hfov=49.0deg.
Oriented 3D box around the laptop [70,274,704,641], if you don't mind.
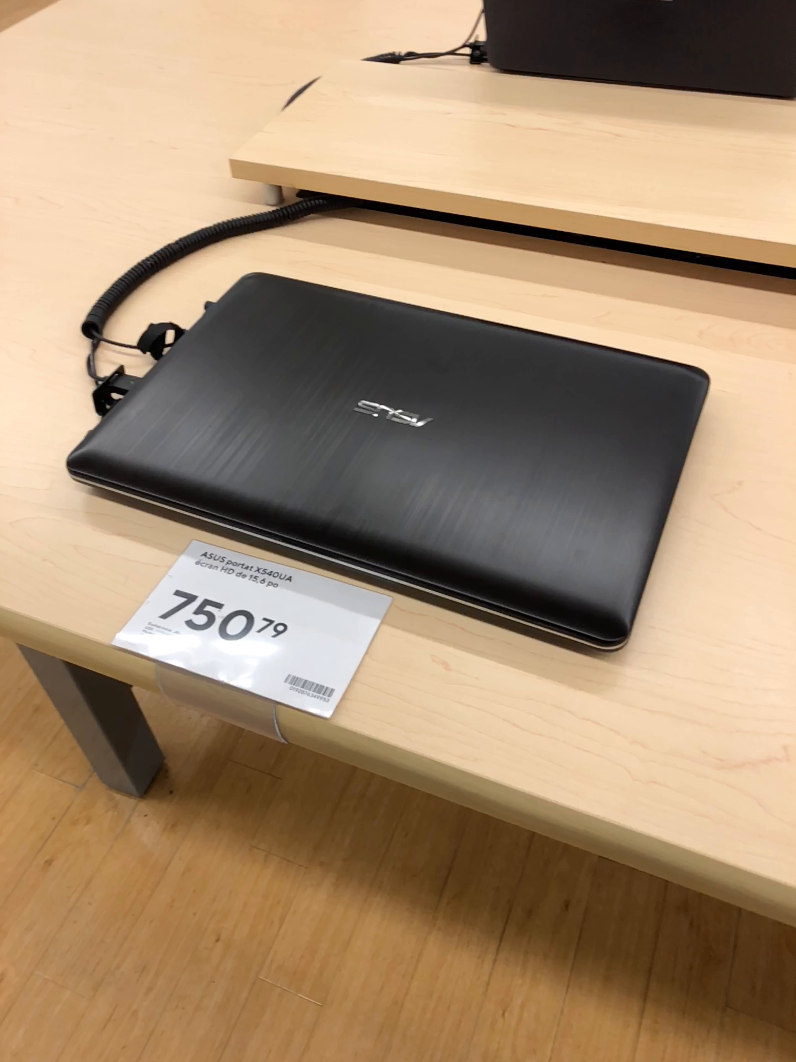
[{"bbox_3d":[-0.004,-0.075,0.598,0.369,0.010,0.228,17,53,18],"label":"laptop"}]
